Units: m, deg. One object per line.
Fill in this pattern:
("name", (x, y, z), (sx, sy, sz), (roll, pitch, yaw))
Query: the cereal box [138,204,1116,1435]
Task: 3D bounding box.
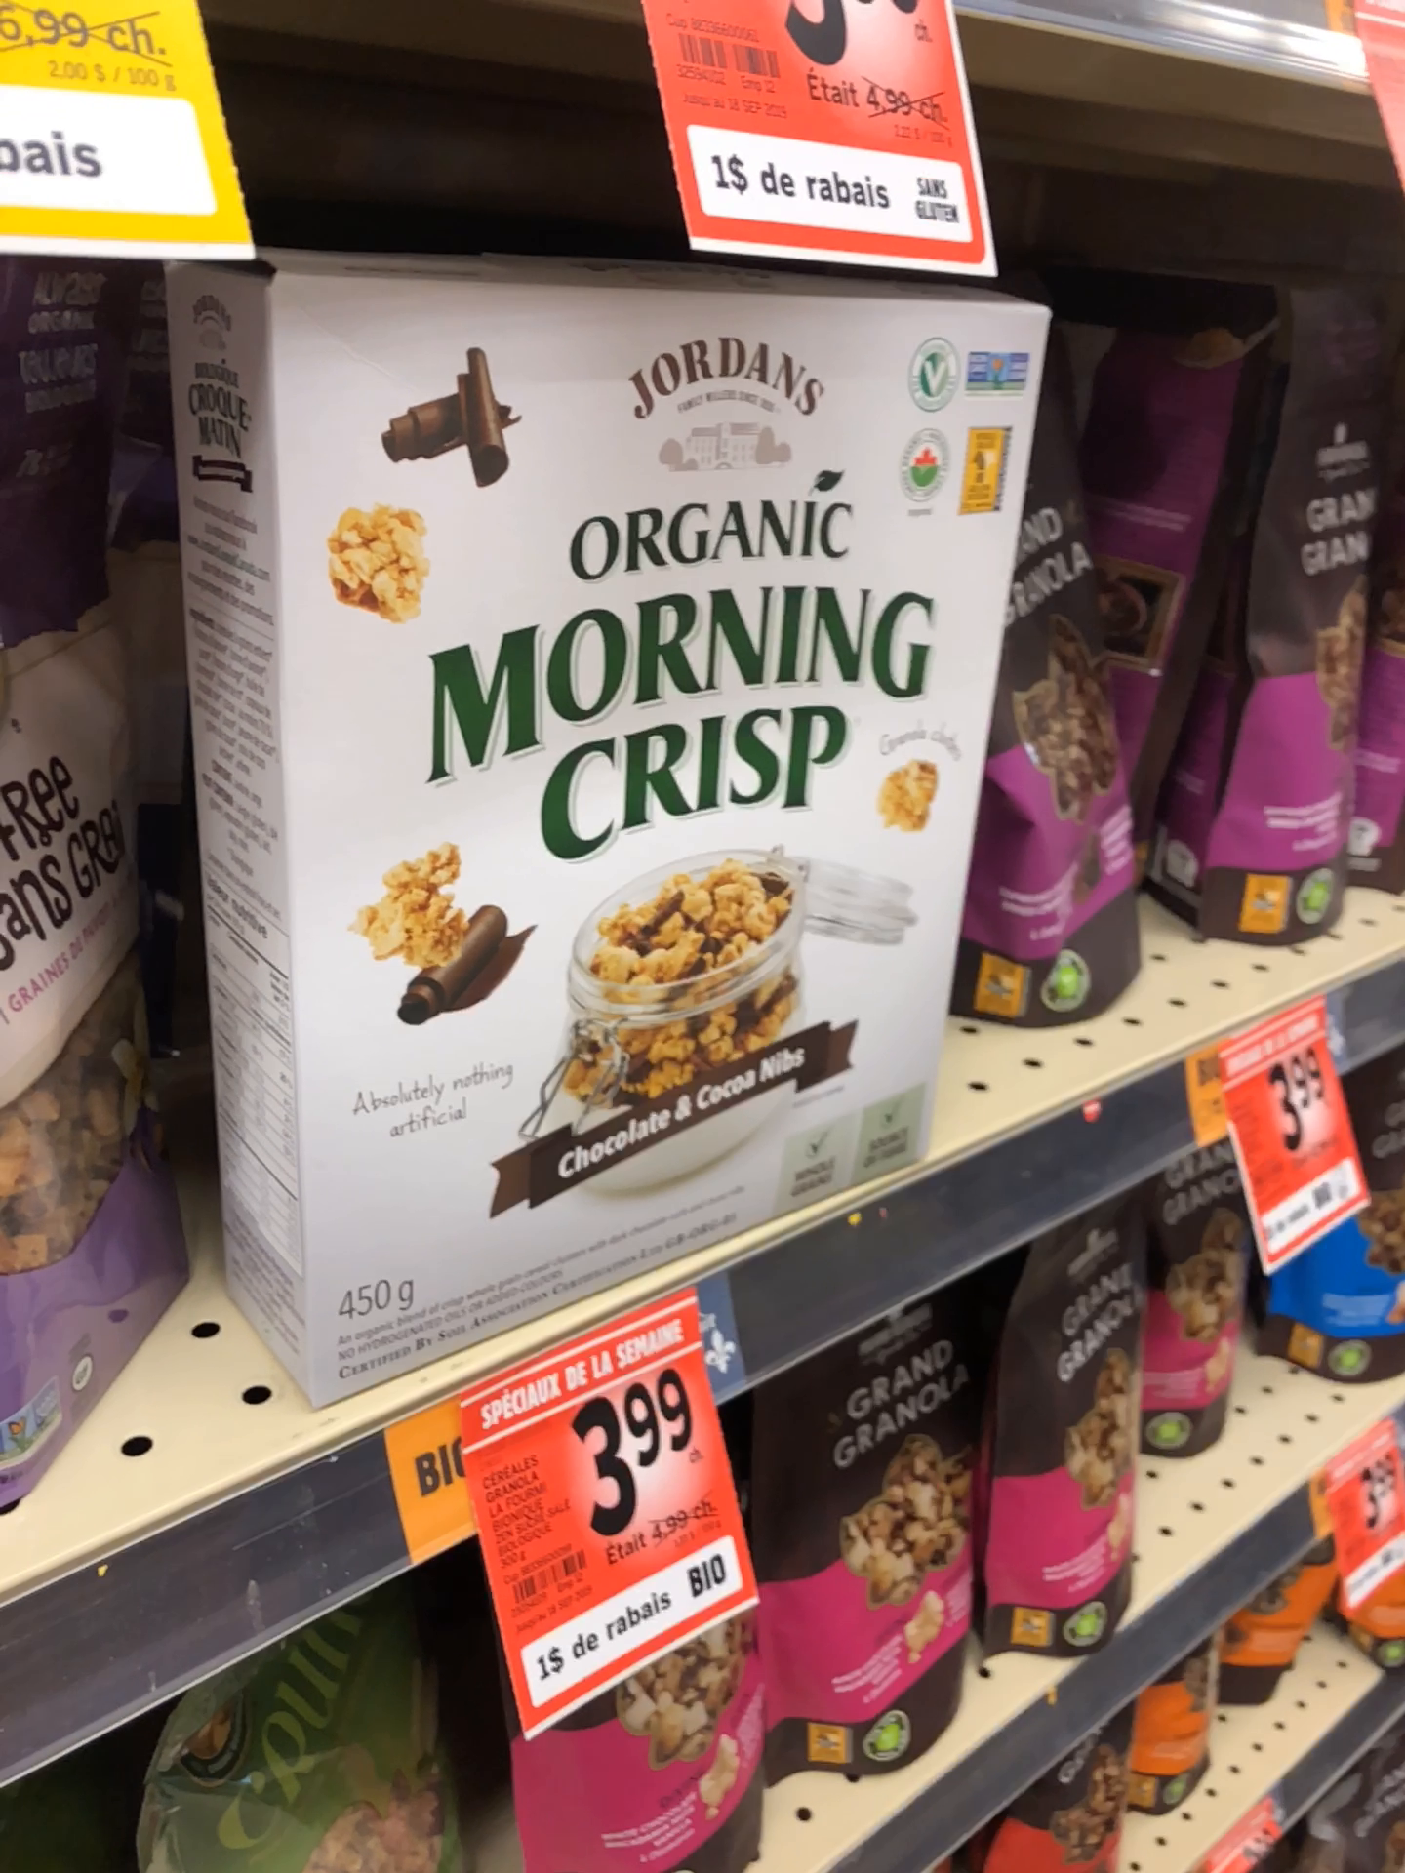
("cereal box", (-0.010, -0.029, 0.322), (0.180, 0.209, 0.050), (-14, 30, -36))
